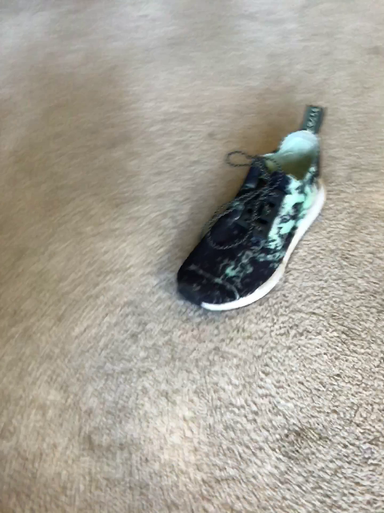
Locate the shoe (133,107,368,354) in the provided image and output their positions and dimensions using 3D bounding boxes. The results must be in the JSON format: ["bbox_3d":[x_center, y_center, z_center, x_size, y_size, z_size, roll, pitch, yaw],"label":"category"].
[{"bbox_3d":[0.079,-0.045,0.519,0.131,0.100,0.288,32,62,21],"label":"shoe"}]
